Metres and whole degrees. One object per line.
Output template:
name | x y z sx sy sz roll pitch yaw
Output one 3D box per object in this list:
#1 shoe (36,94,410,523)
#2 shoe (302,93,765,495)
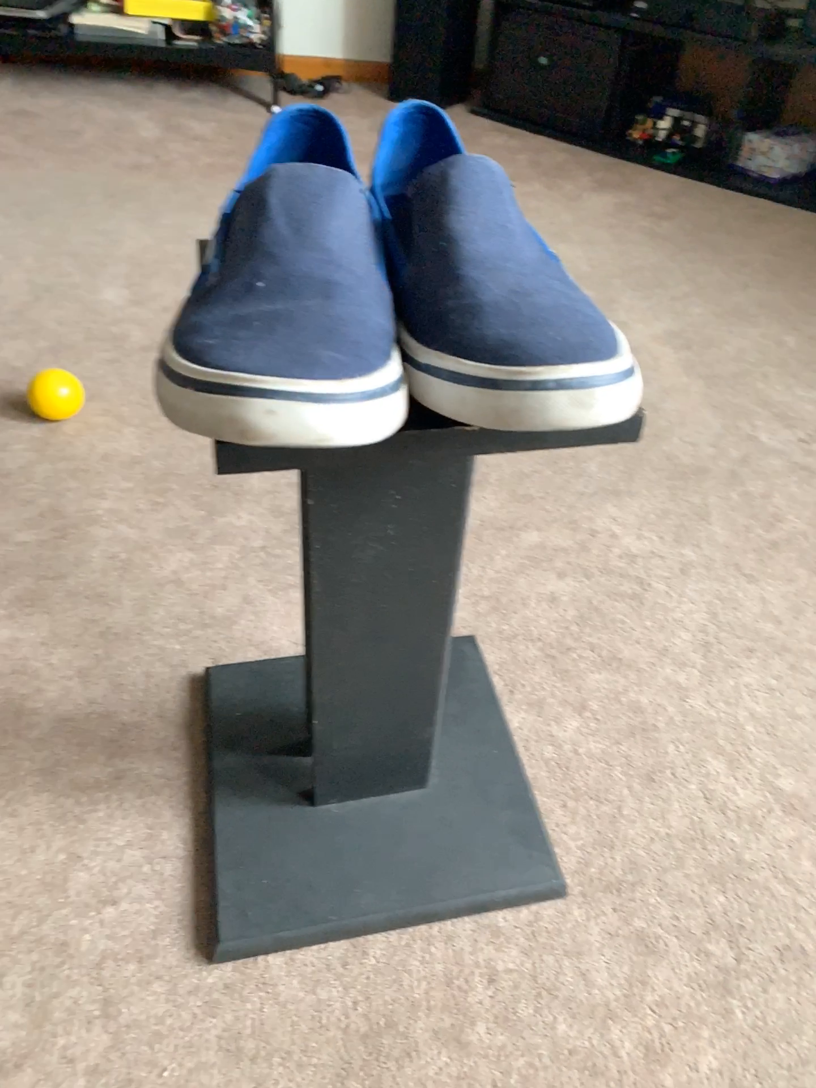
shoe | -0.064 -0.139 0.413 0.120 0.079 0.303 3 40 -3
shoe | 0.033 -0.153 0.436 0.120 0.079 0.302 -8 42 -15
